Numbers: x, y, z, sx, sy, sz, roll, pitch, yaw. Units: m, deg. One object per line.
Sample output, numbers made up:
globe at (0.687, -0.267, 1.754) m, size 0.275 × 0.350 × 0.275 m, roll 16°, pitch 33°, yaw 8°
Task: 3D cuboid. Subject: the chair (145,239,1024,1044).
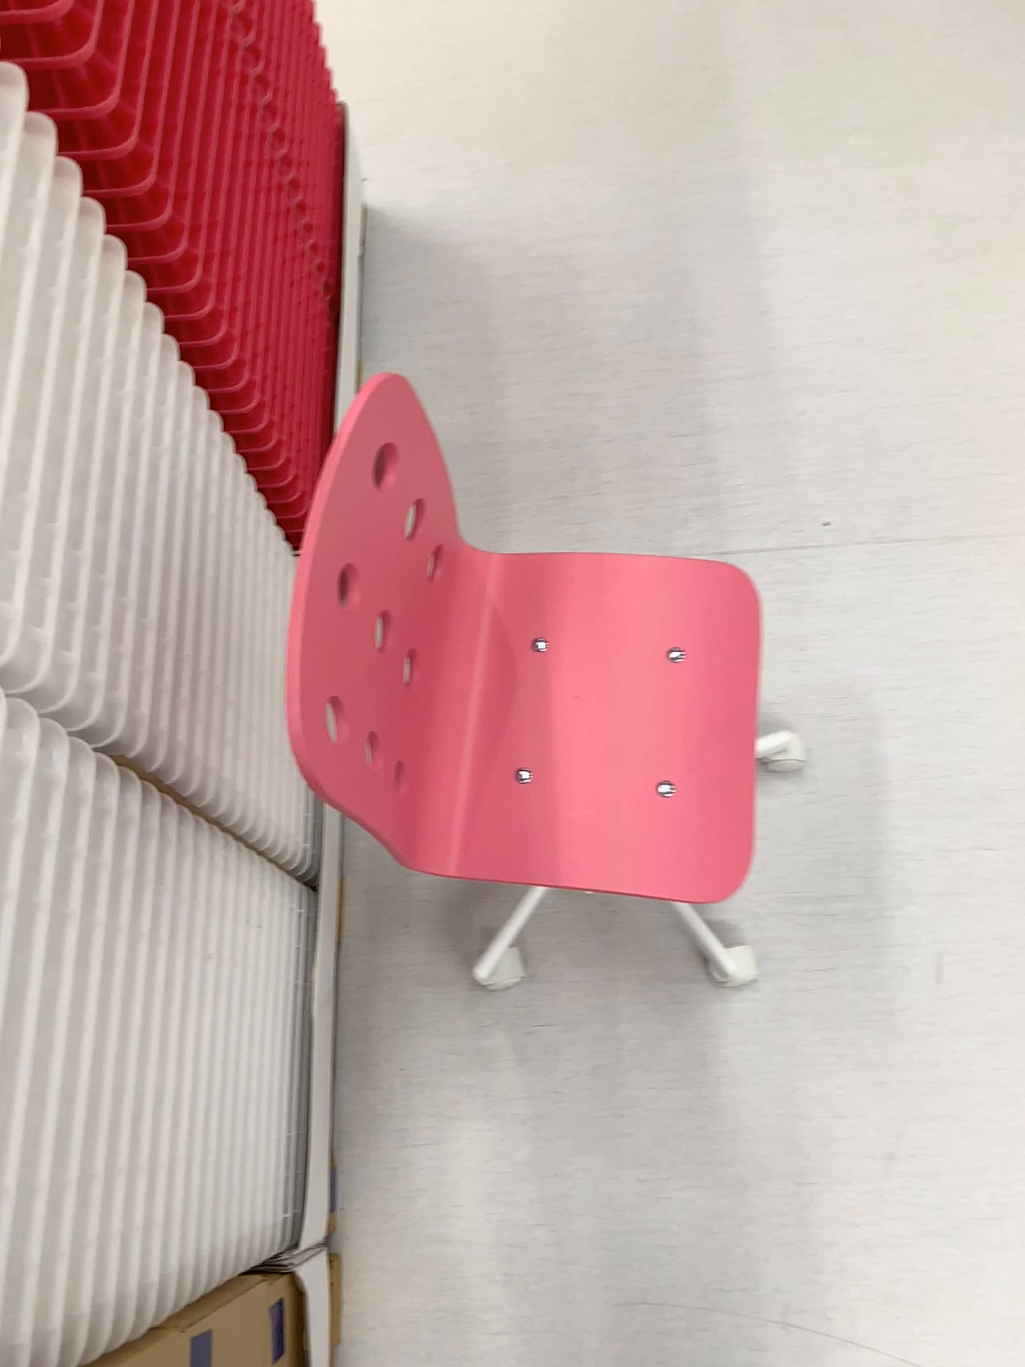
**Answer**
chair at (0.103, 0.039, 1.045) m, size 0.580 × 0.709 × 0.550 m, roll 3°, pitch 69°, yaw 5°
